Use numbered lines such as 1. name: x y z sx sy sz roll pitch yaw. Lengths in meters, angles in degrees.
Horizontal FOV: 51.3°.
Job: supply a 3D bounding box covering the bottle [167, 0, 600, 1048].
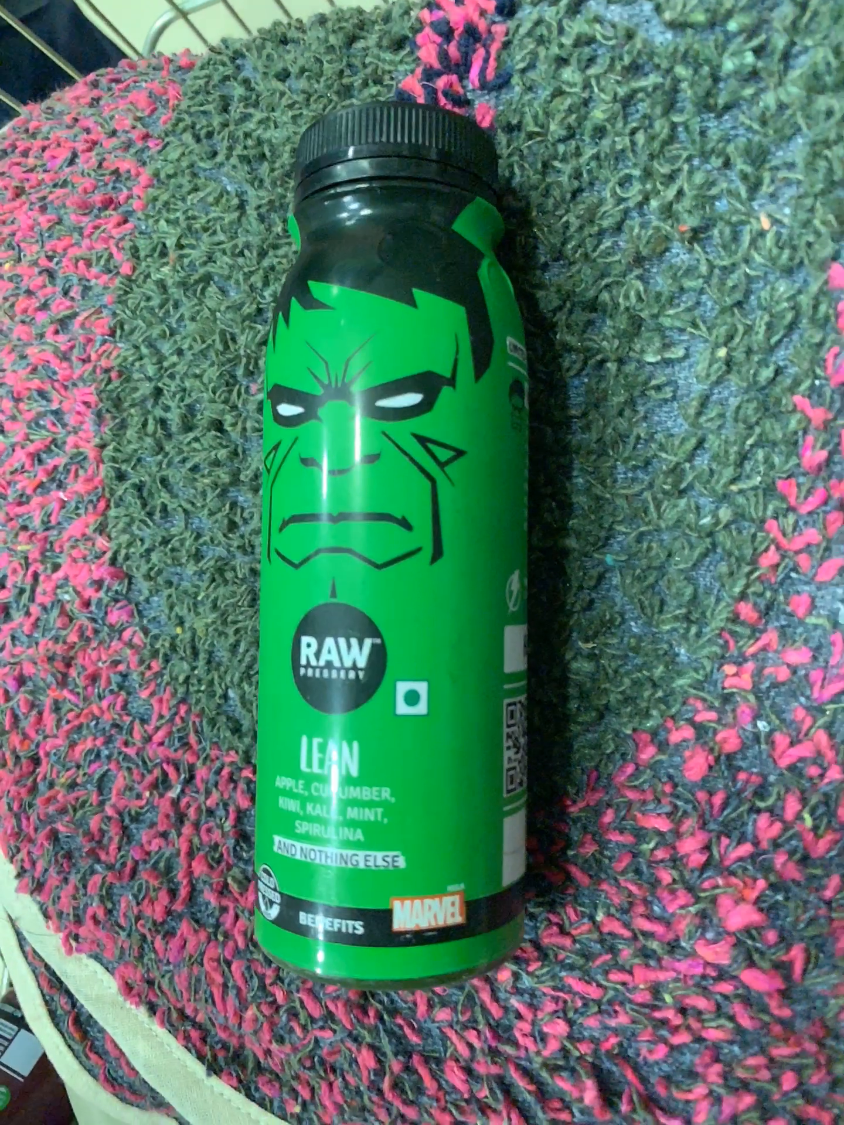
1. bottle: -0.004 -0.009 0.166 0.060 0.050 0.160 -1 85 28
